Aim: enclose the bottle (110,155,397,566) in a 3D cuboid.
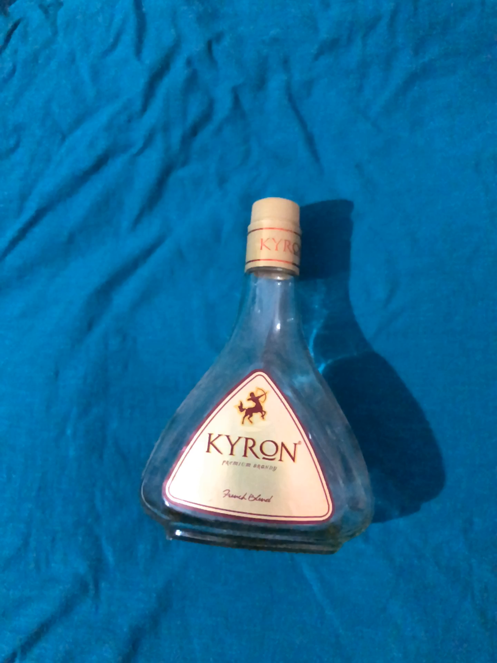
[{"bbox_3d":[0.006,0.011,0.282,0.120,0.060,0.180,3,84,5],"label":"bottle"}]
